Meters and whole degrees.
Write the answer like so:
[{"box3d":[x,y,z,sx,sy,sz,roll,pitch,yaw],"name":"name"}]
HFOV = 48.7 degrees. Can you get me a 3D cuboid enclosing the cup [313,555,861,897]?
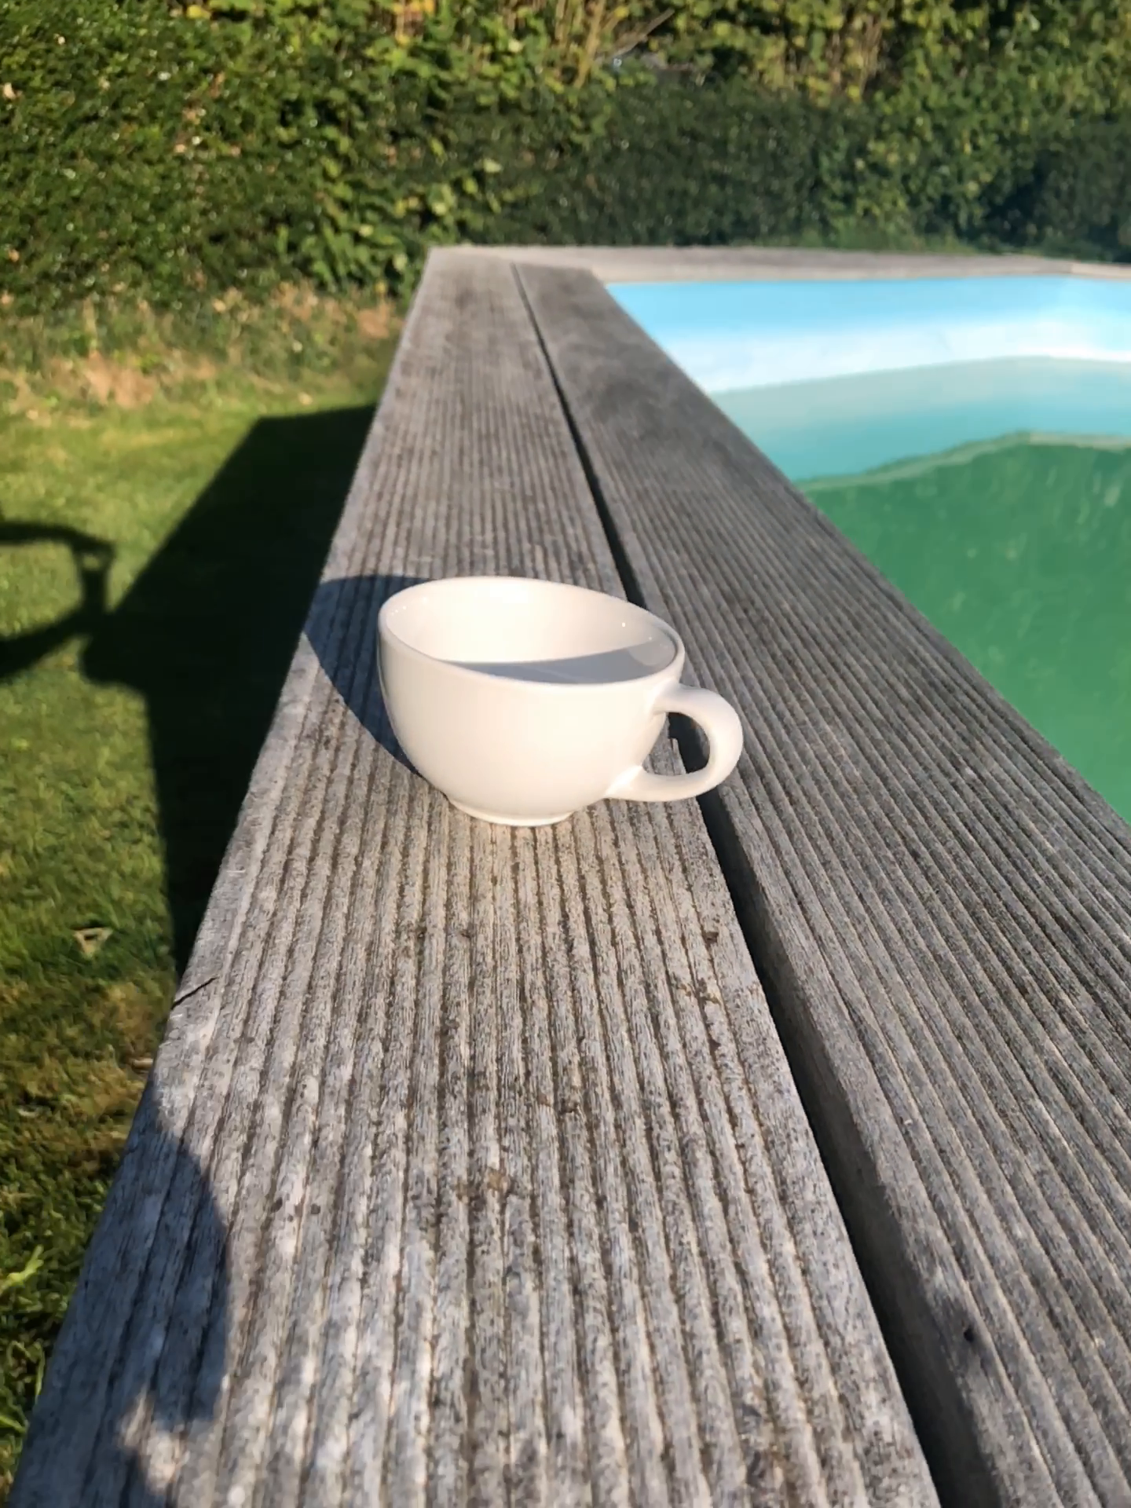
[{"box3d":[0.008,-0.016,0.362,0.120,0.038,0.105,17,28,25],"name":"cup"}]
